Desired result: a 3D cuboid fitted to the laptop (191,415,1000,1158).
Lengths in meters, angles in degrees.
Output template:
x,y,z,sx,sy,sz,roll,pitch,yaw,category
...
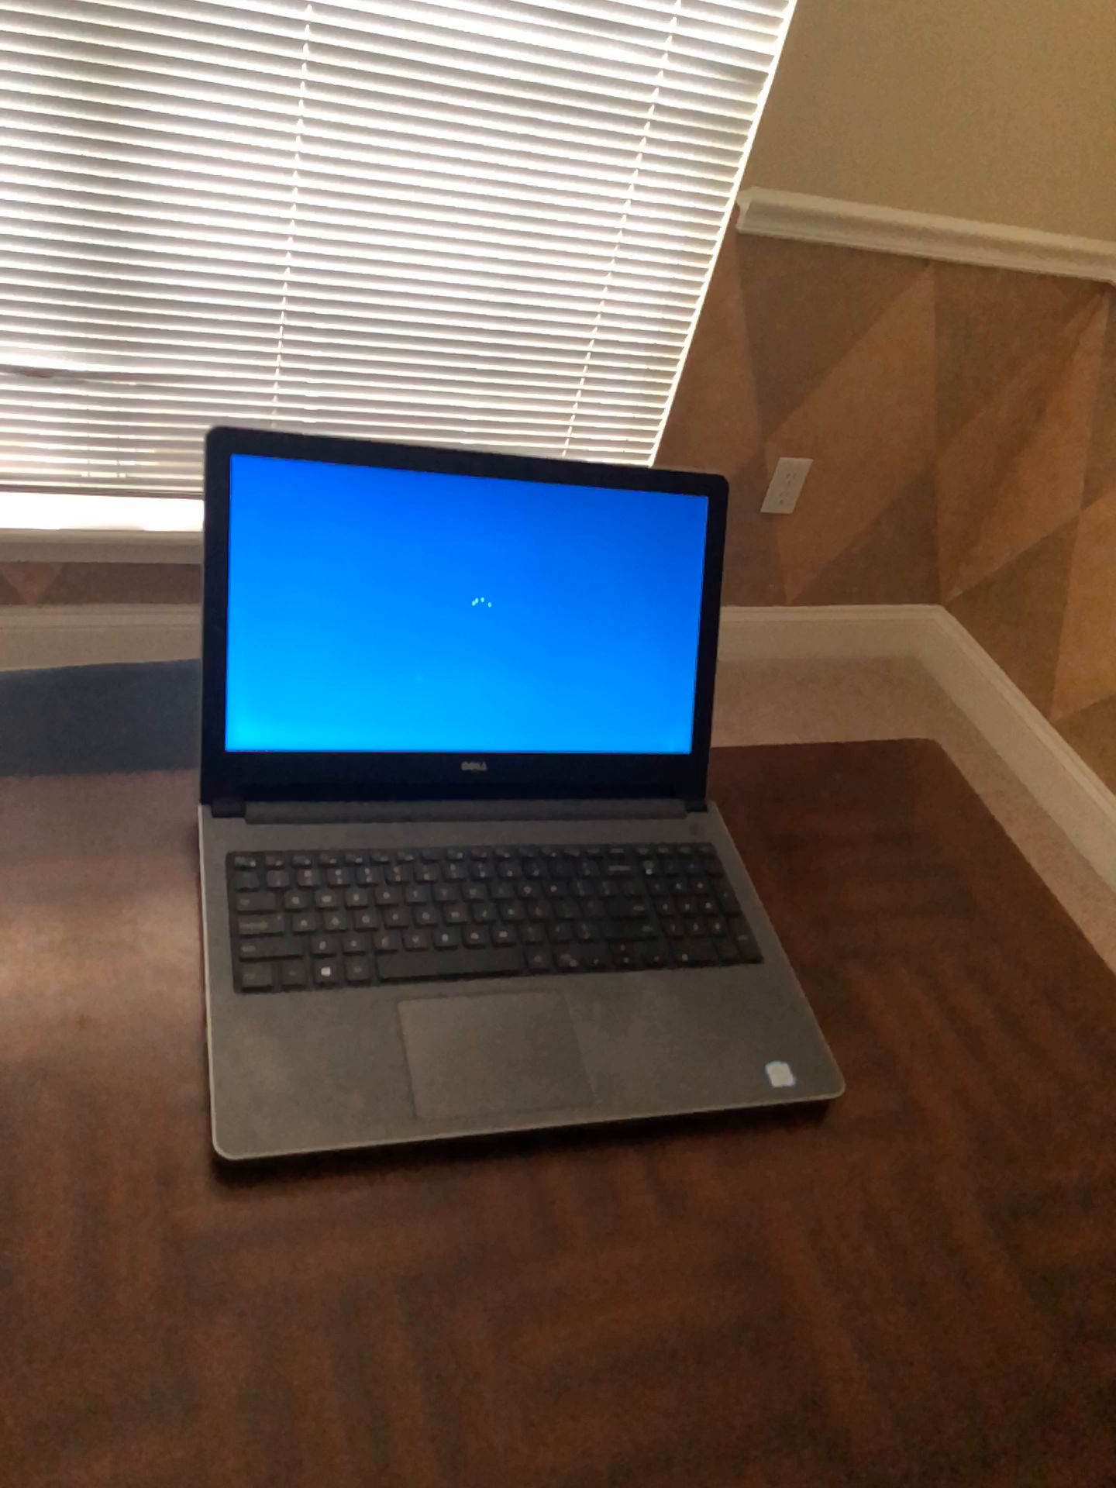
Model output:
x,y,z,sx,sy,sz,roll,pitch,yaw,category
-0.022,0.004,0.748,0.367,0.198,0.393,1,42,-20,laptop
